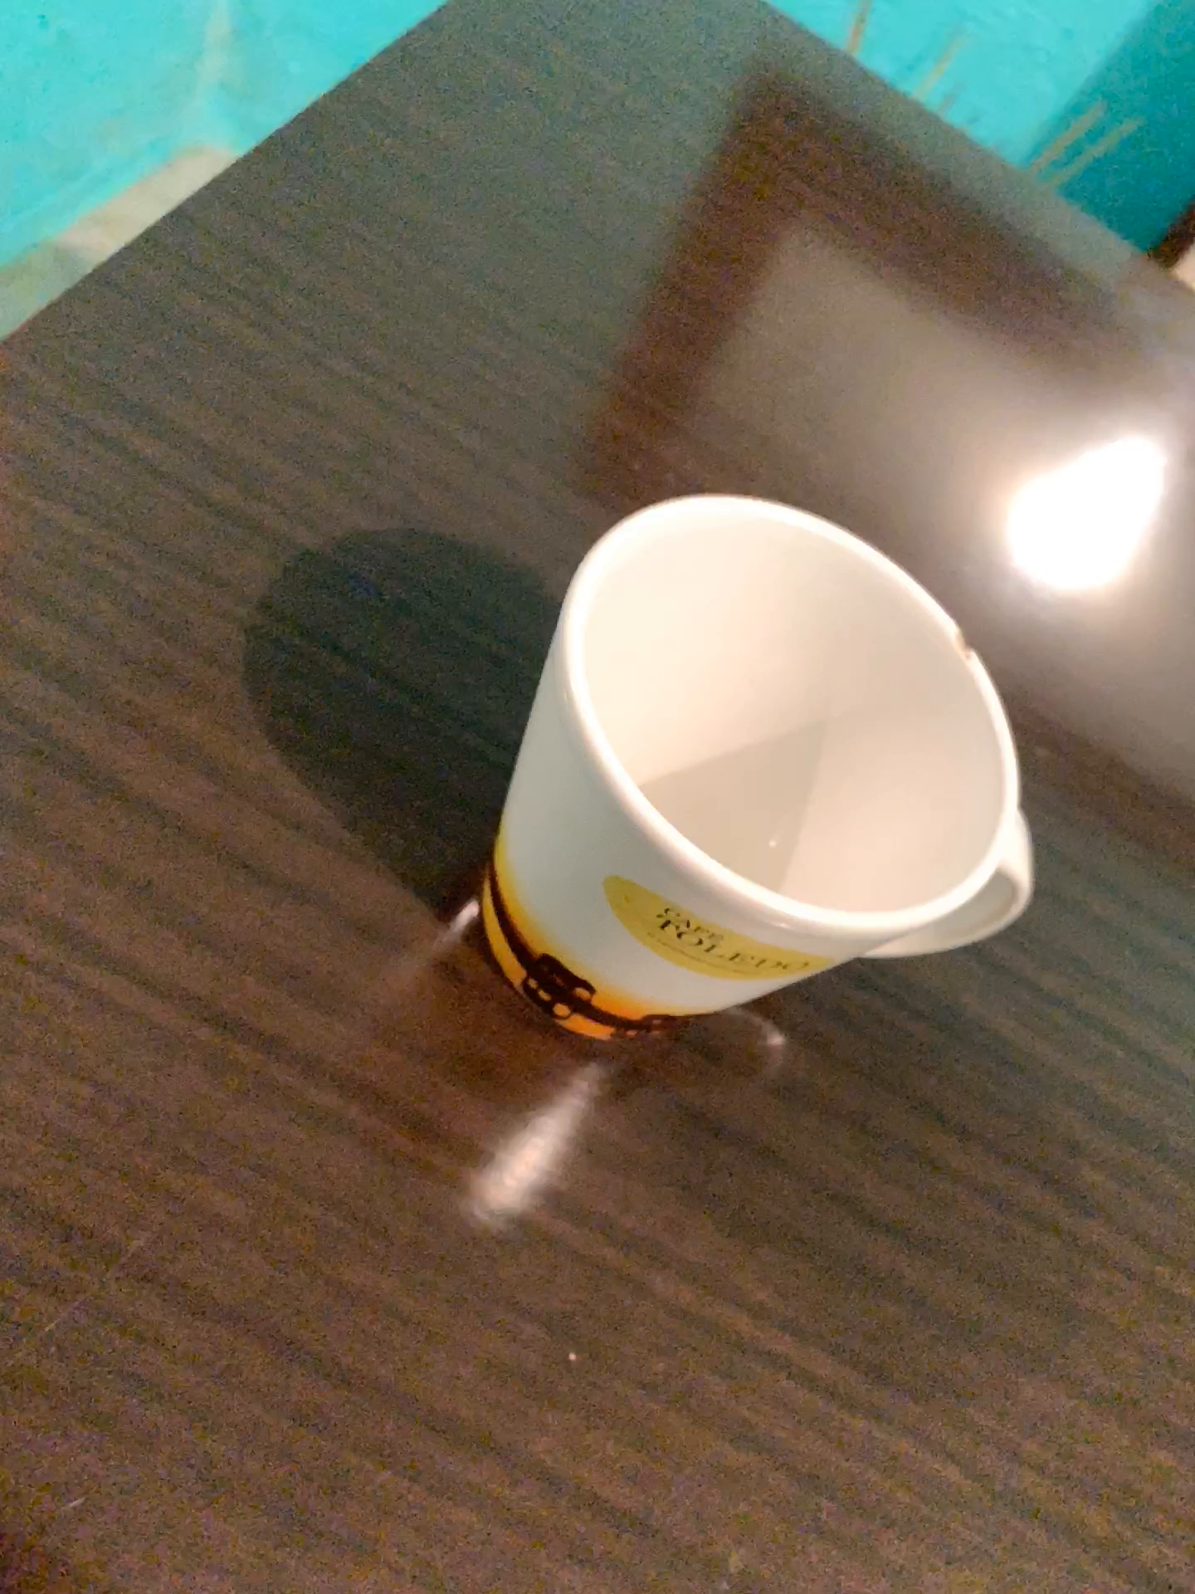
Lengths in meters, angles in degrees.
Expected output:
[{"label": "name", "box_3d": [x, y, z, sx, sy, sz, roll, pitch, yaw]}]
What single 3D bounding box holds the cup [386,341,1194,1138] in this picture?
[{"label": "cup", "box_3d": [0.032, -0.003, 0.228, 0.110, 0.080, 0.090, 16, 56, -16]}]
